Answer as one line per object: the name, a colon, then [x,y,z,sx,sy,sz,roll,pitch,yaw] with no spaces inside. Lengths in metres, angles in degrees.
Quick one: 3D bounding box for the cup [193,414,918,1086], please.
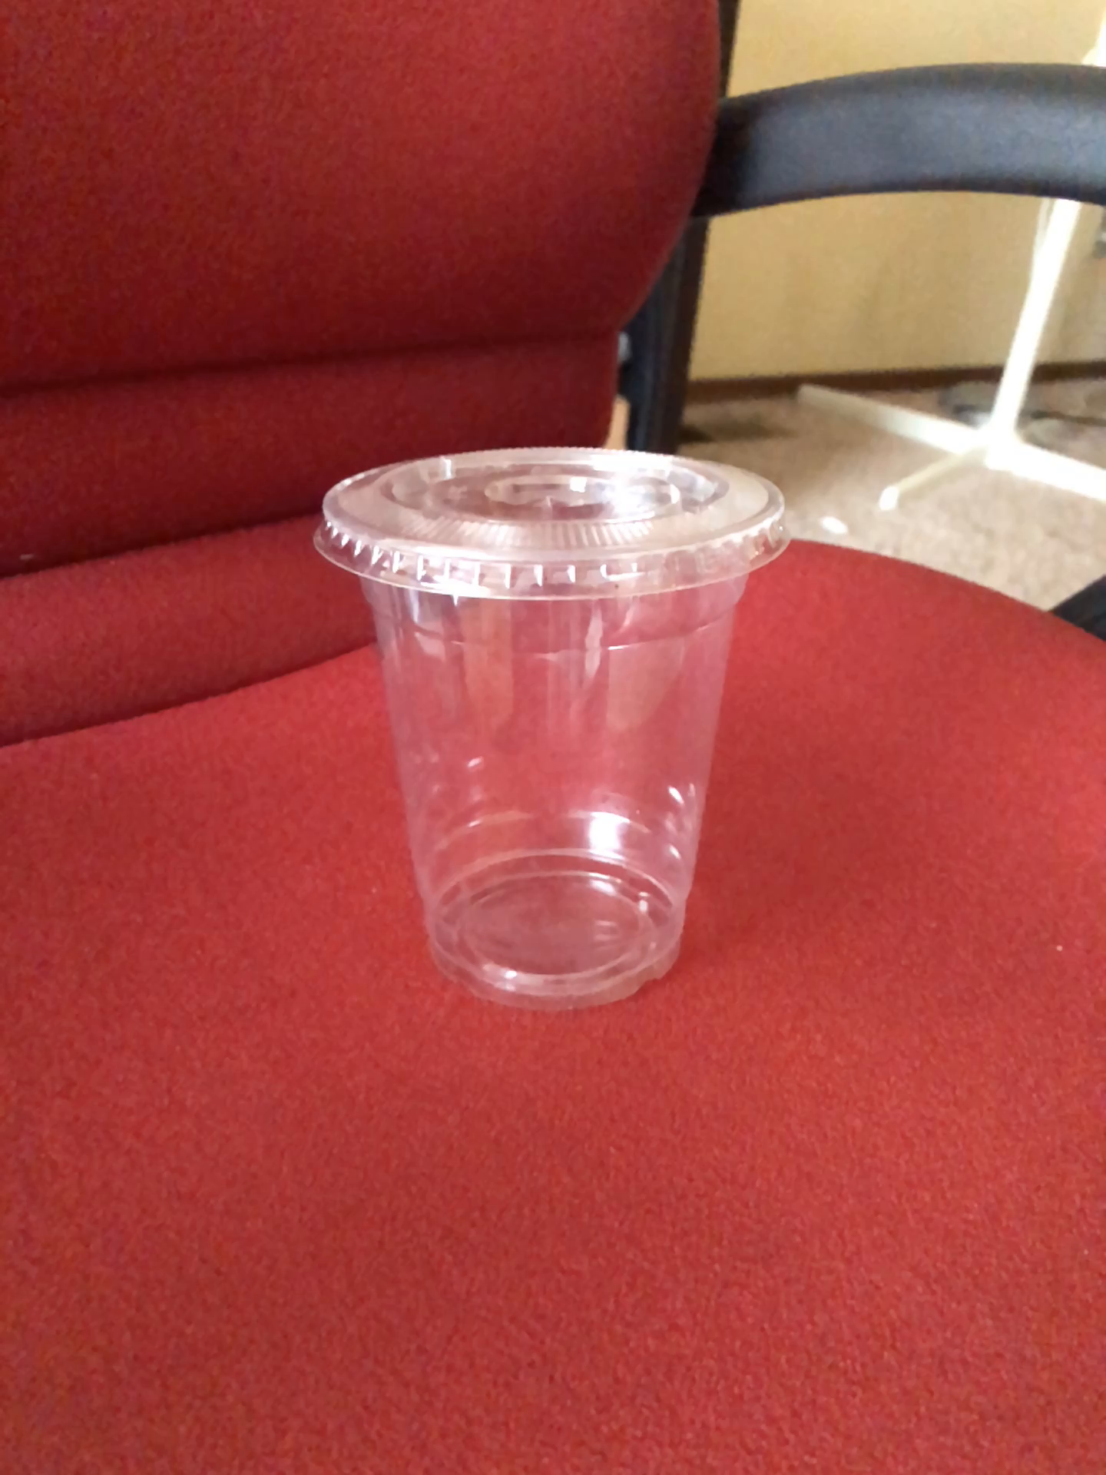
cup: [-0.002,-0.010,0.255,0.100,0.090,0.100,0,23,0]
